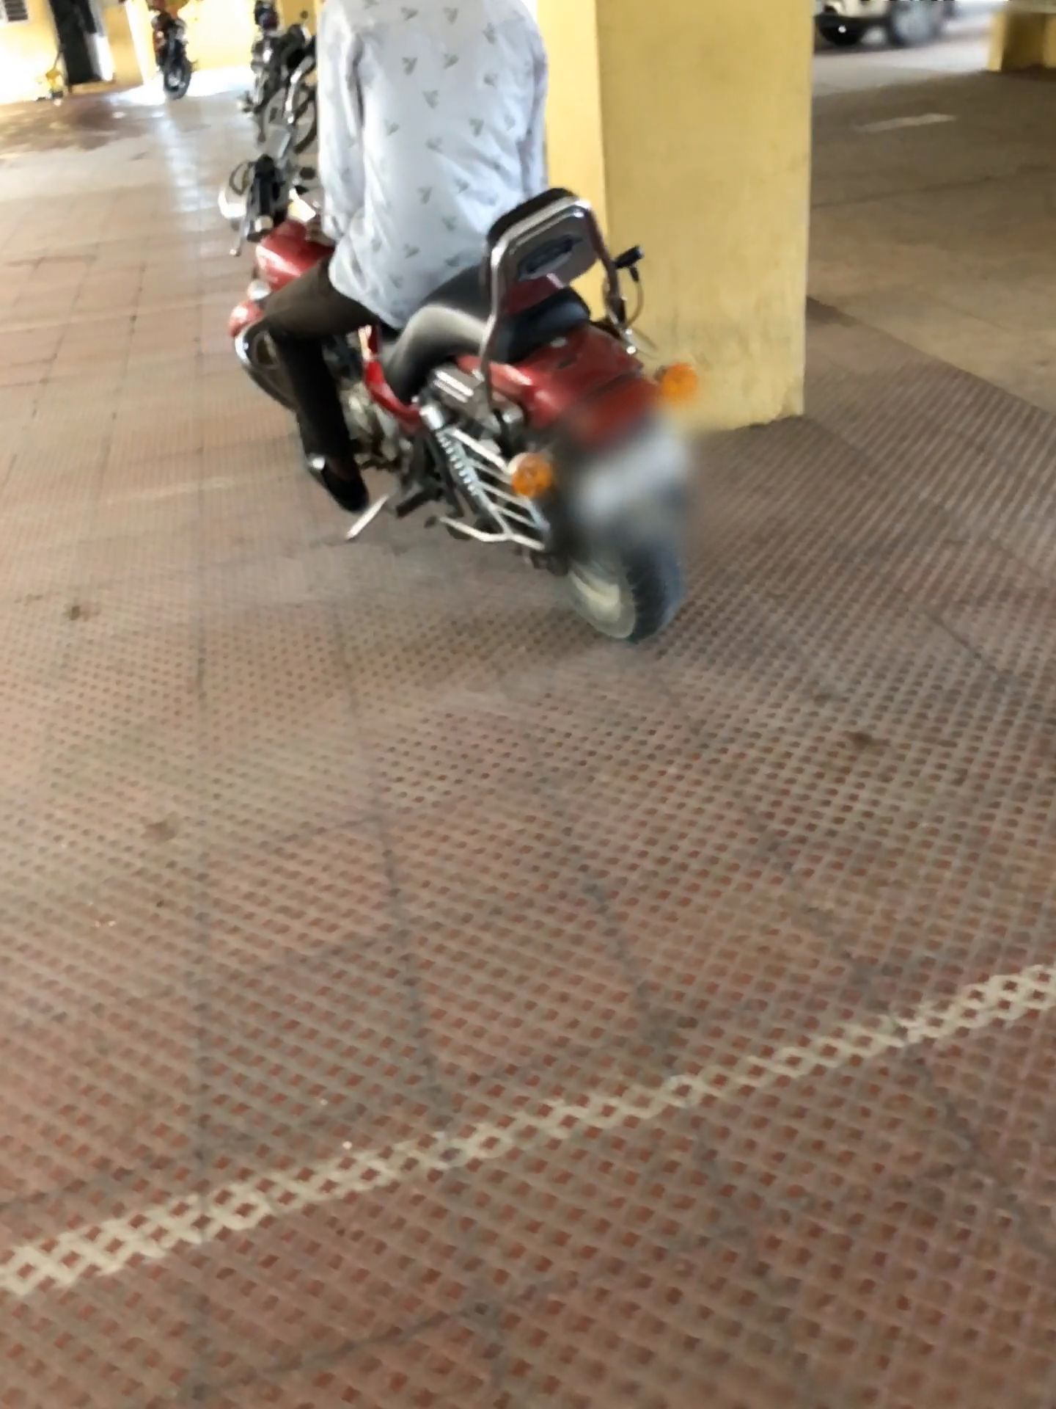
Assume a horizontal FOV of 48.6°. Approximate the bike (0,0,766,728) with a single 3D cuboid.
[{"bbox_3d":[-0.449,-0.941,2.353,0.759,1.049,1.651,-26,43,-29],"label":"bike"}]
